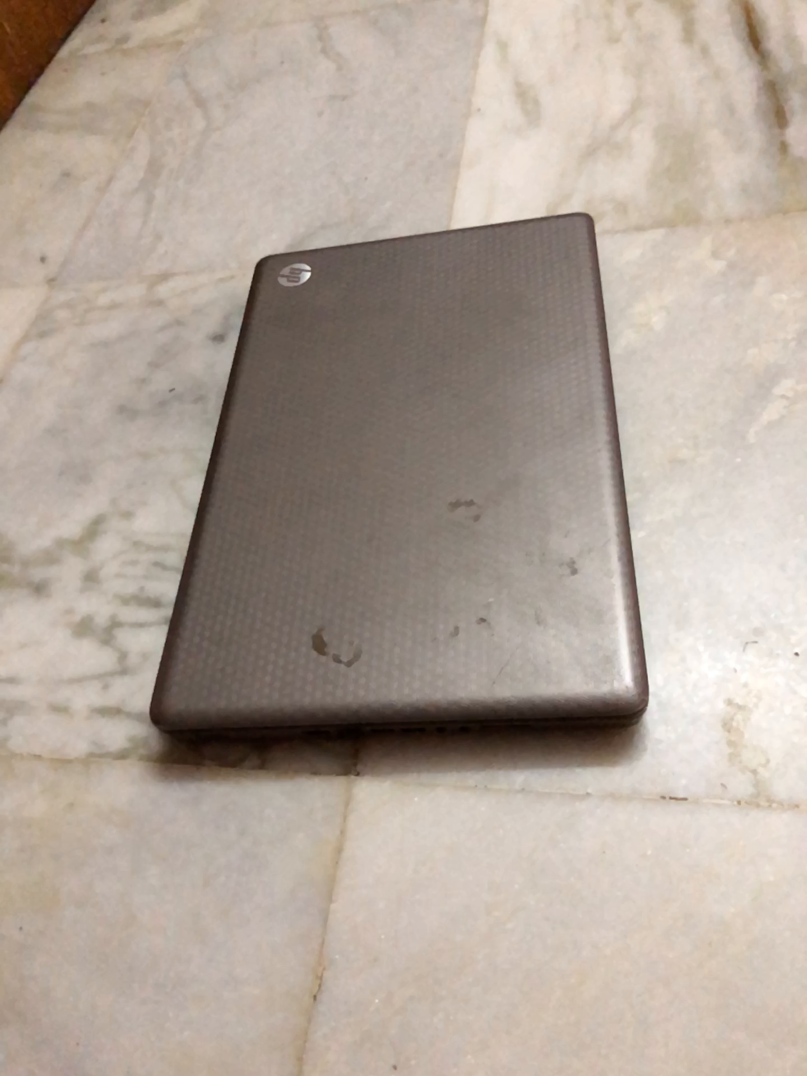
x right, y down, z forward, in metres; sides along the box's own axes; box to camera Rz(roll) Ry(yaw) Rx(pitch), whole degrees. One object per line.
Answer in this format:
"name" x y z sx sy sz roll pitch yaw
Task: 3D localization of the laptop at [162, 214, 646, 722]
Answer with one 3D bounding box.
"laptop" 0.004 -0.070 0.569 0.252 0.003 0.395 -4 54 11
